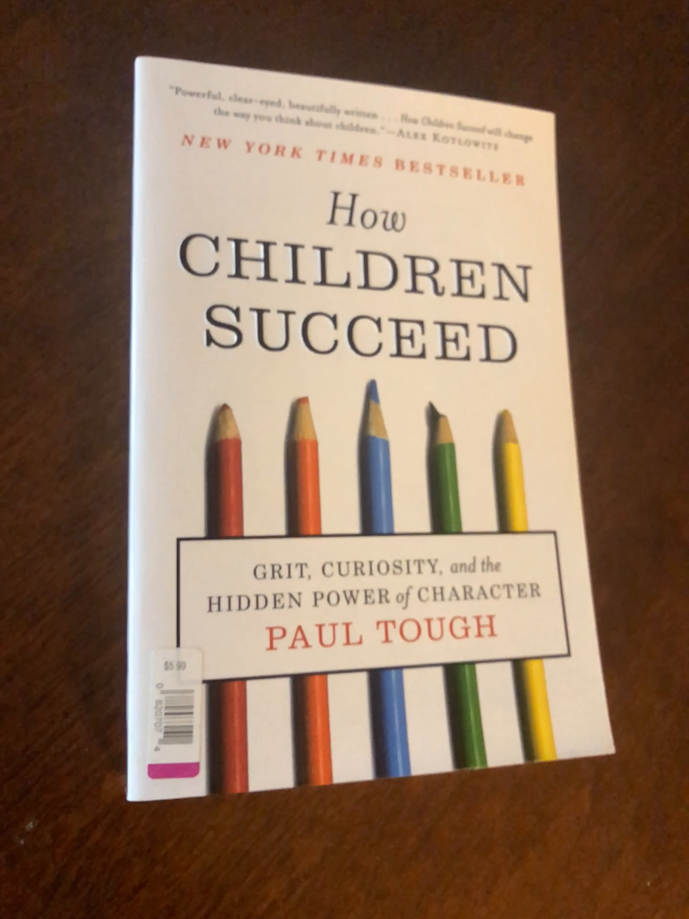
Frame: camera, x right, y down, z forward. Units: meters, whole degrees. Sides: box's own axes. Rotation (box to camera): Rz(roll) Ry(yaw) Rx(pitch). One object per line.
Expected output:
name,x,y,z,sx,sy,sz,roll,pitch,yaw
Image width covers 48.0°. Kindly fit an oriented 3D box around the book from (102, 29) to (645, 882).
book,0.006,-0.007,0.221,0.140,0.030,0.210,1,80,-16
